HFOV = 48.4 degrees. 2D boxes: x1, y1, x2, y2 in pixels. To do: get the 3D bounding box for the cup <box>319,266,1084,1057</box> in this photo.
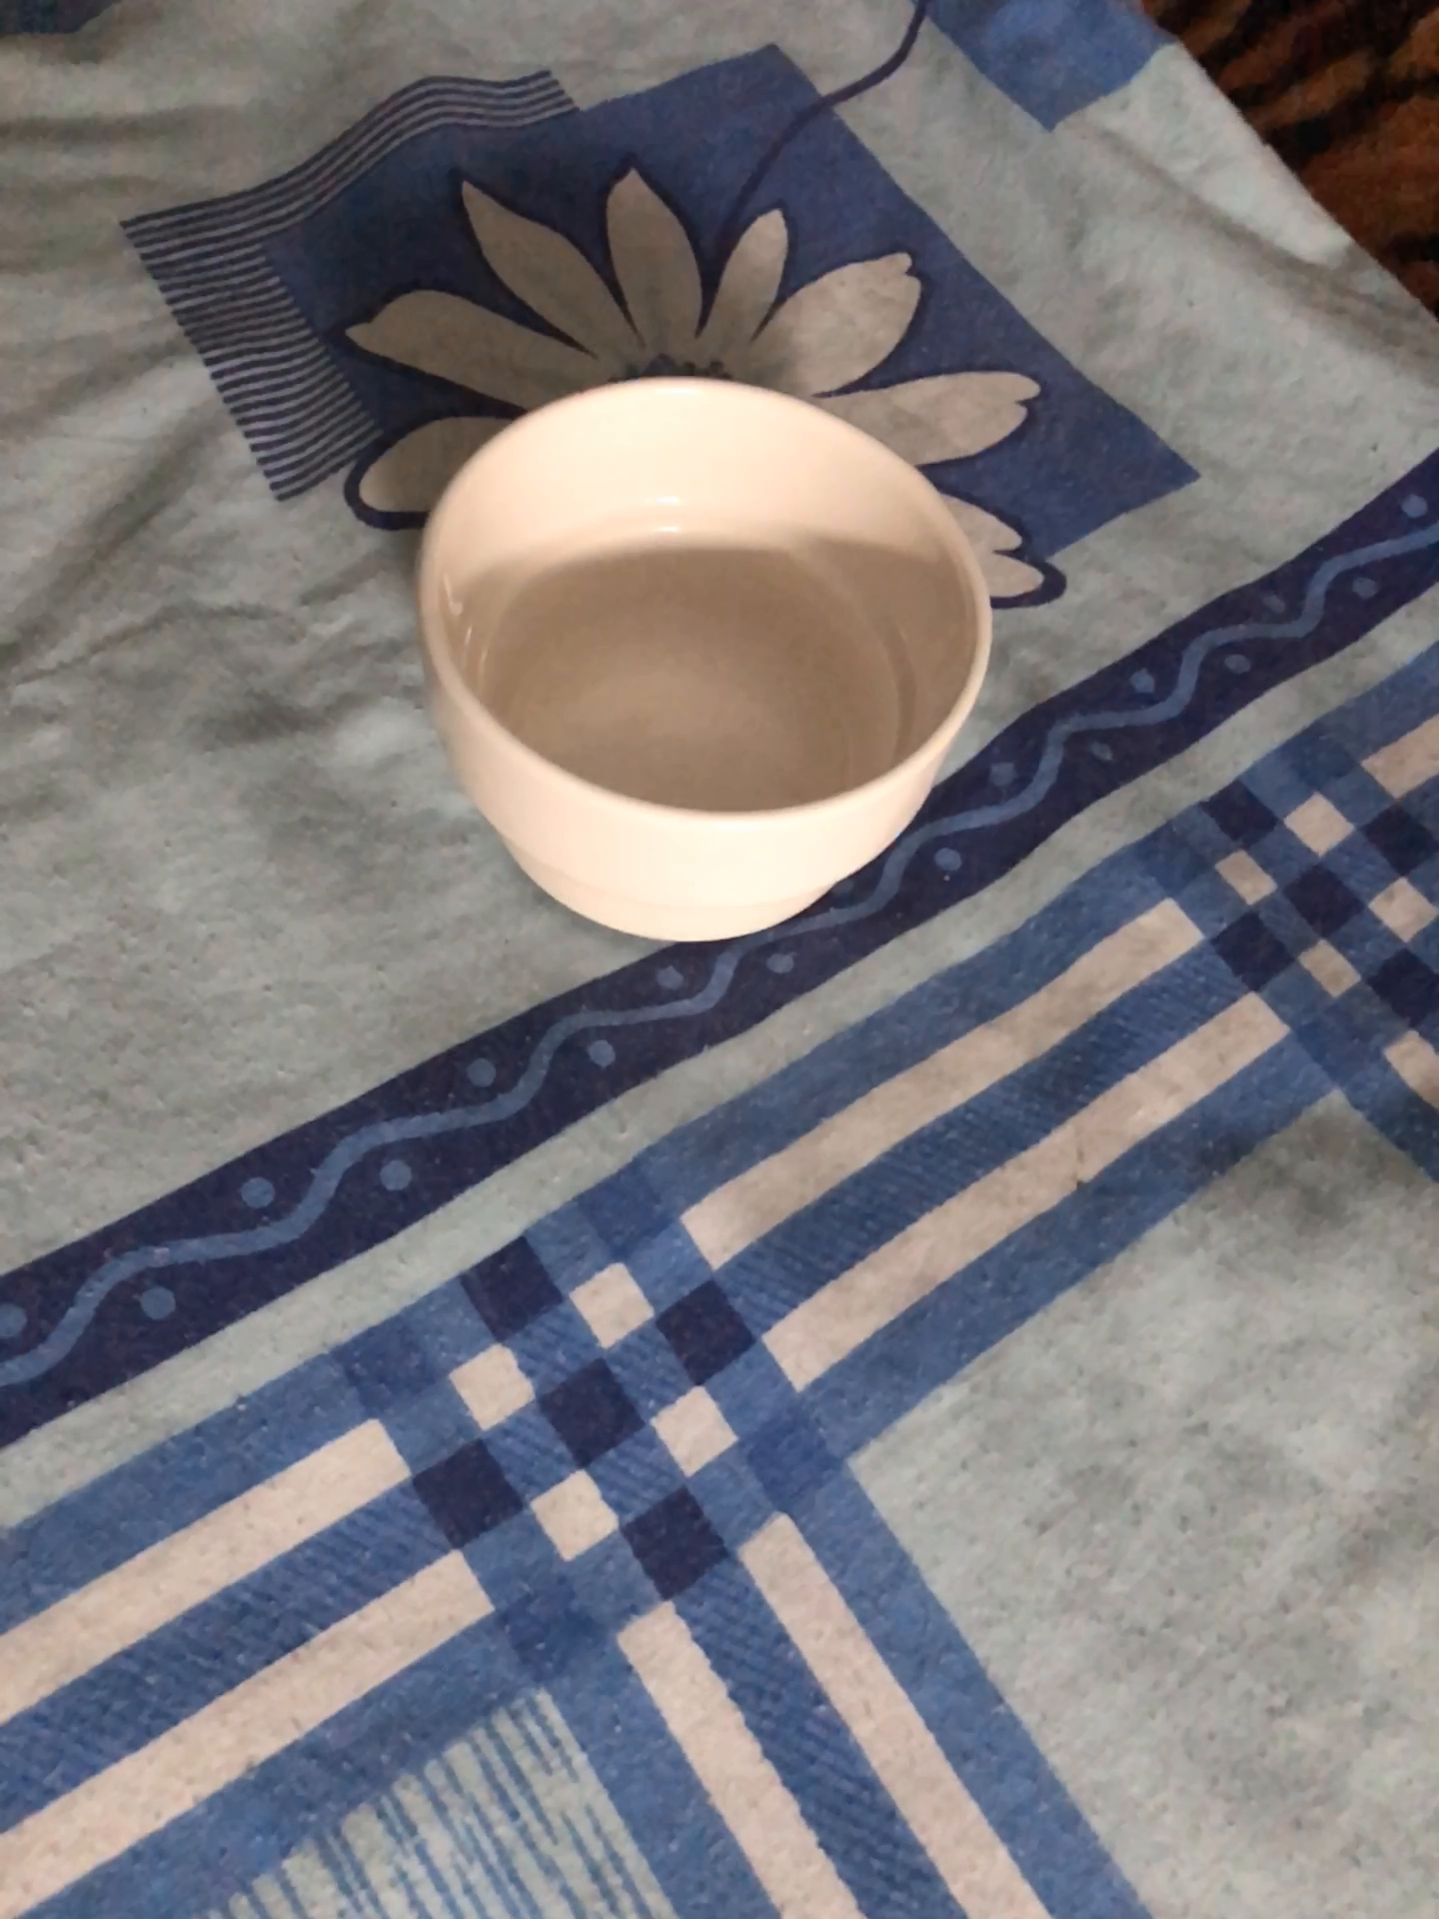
[{"bbox_3d":[-0.006,-0.047,0.245,0.077,0.047,0.091,-20,69,-14],"label":"cup"}]
